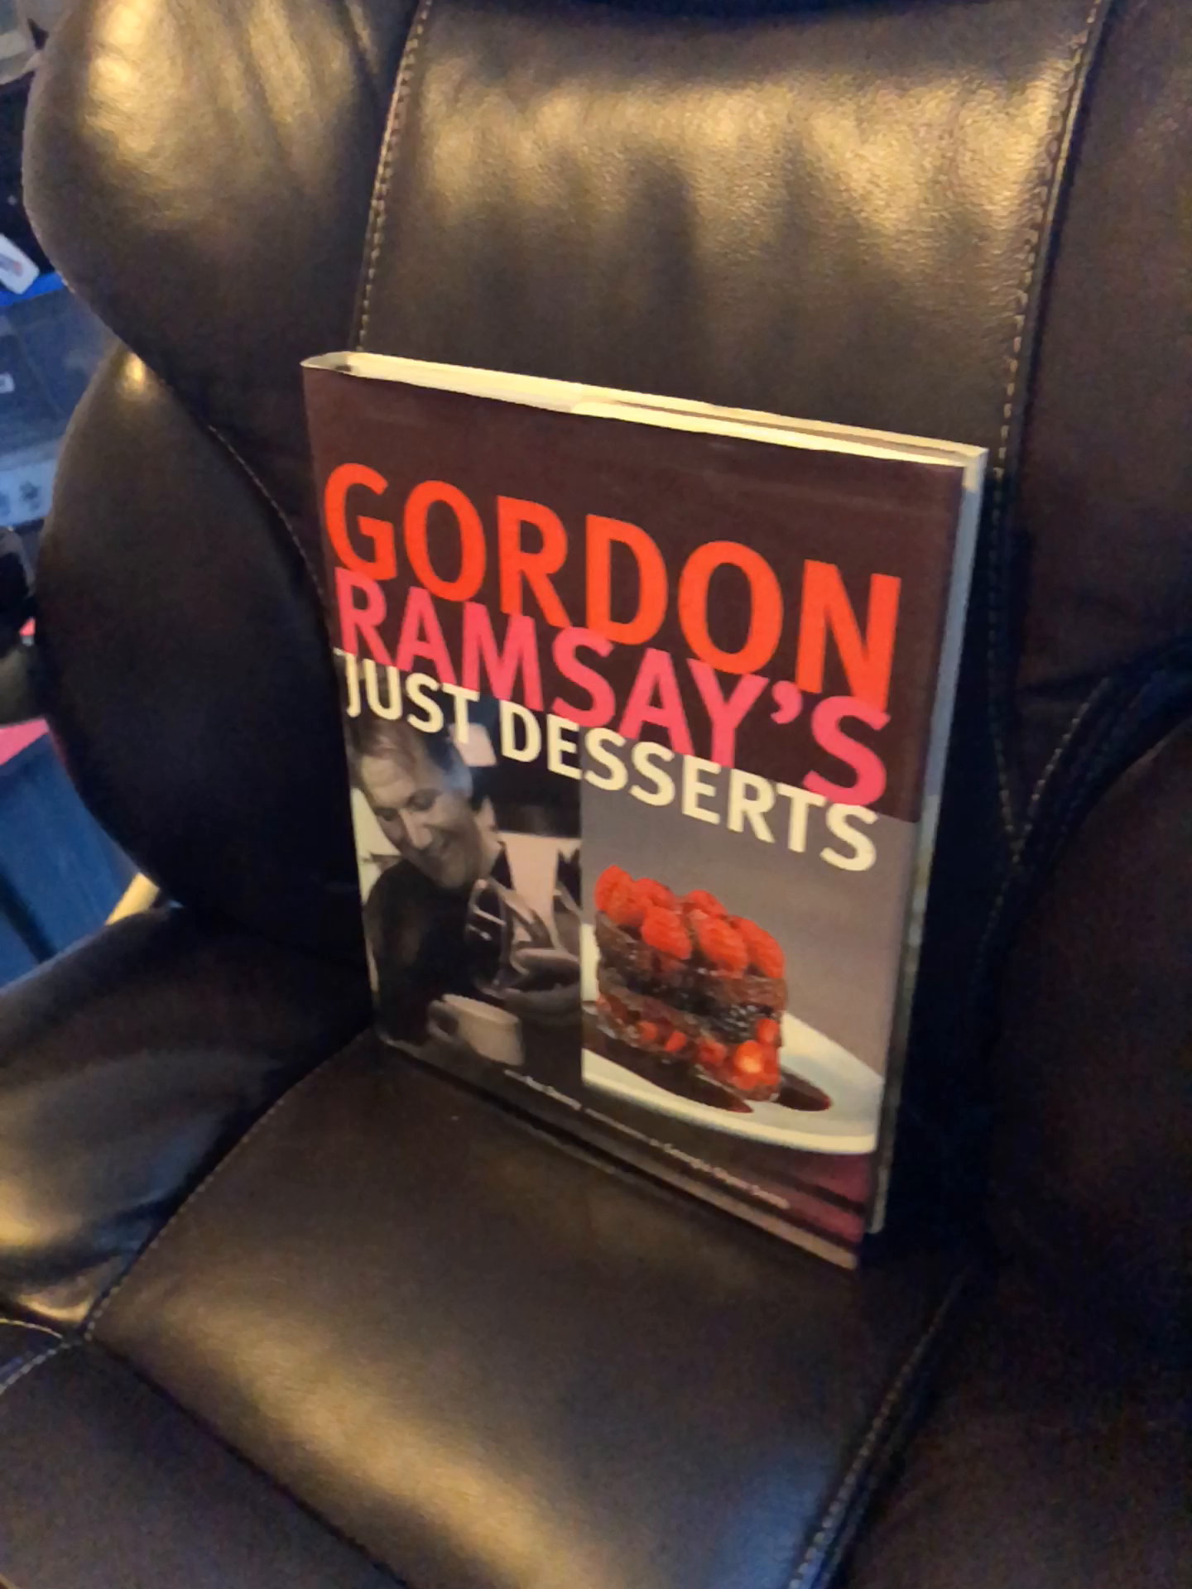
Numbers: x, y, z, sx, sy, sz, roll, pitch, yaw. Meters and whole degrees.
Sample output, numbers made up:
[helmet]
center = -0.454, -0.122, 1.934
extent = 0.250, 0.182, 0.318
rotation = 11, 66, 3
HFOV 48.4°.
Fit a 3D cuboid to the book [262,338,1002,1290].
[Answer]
[book]
center = 0.004, 0.010, 0.452
extent = 0.231, 0.293, 0.030
rotation = 18, 38, 31
